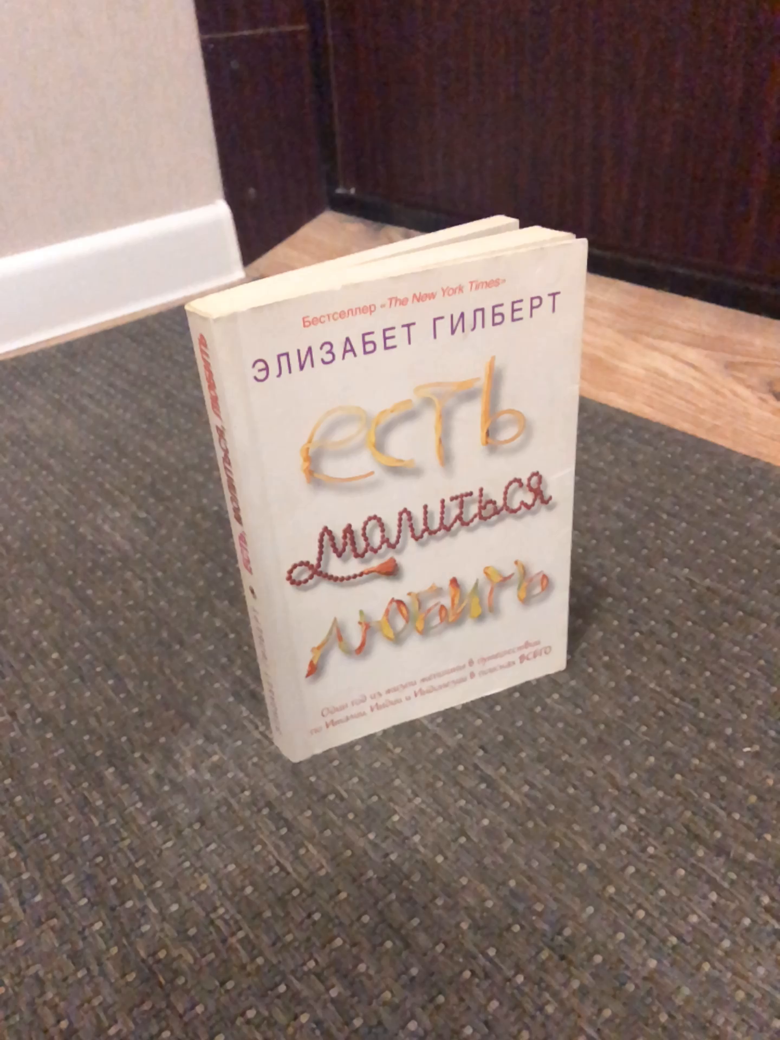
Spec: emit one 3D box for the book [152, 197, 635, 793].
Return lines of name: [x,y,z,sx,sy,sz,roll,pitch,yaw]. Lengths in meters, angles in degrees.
book: [0.006,-0.008,0.374,0.161,0.213,0.068,-18,38,-21]
